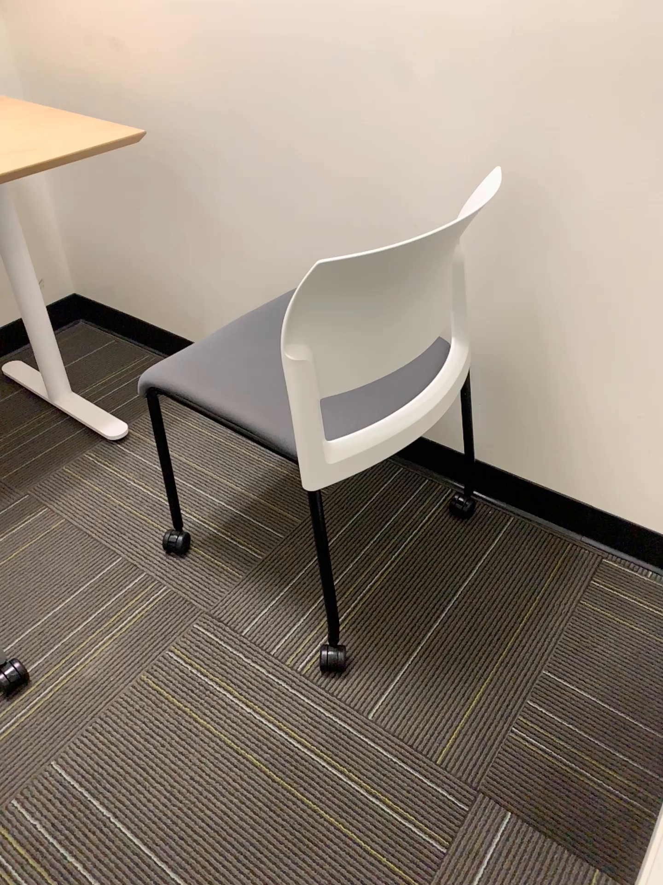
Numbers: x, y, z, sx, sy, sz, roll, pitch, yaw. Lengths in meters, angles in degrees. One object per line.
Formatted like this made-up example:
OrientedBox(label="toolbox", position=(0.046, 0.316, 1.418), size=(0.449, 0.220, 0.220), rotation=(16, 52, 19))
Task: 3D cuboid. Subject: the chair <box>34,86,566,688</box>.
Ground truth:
OrientedBox(label="chair", position=(-0.023, -0.131, 1.267), size=(0.542, 0.805, 0.602), rotation=(25, 45, 28))
